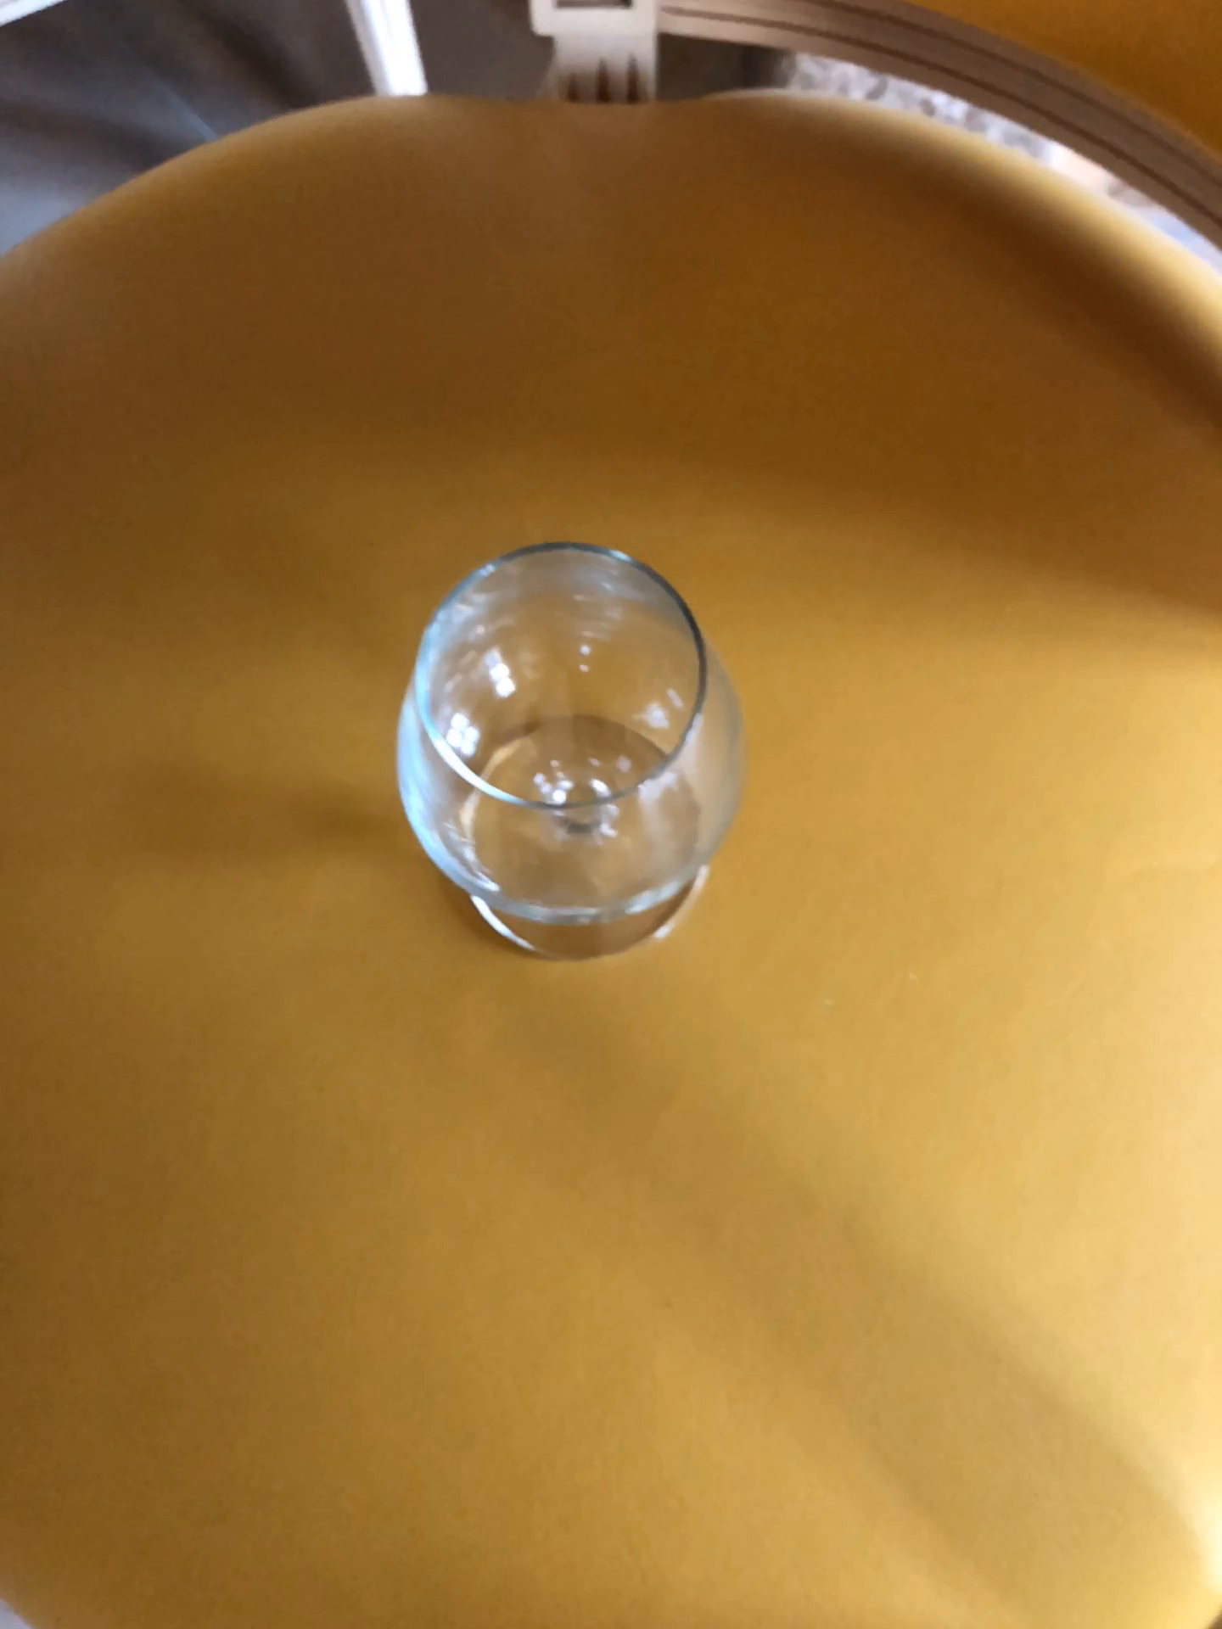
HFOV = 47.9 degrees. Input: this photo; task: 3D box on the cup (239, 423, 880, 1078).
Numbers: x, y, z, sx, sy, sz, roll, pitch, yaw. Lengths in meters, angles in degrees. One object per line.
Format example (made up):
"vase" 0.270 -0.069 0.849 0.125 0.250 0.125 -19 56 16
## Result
"cup" -0.009 -0.006 0.266 0.080 0.090 0.070 -28 73 -9
